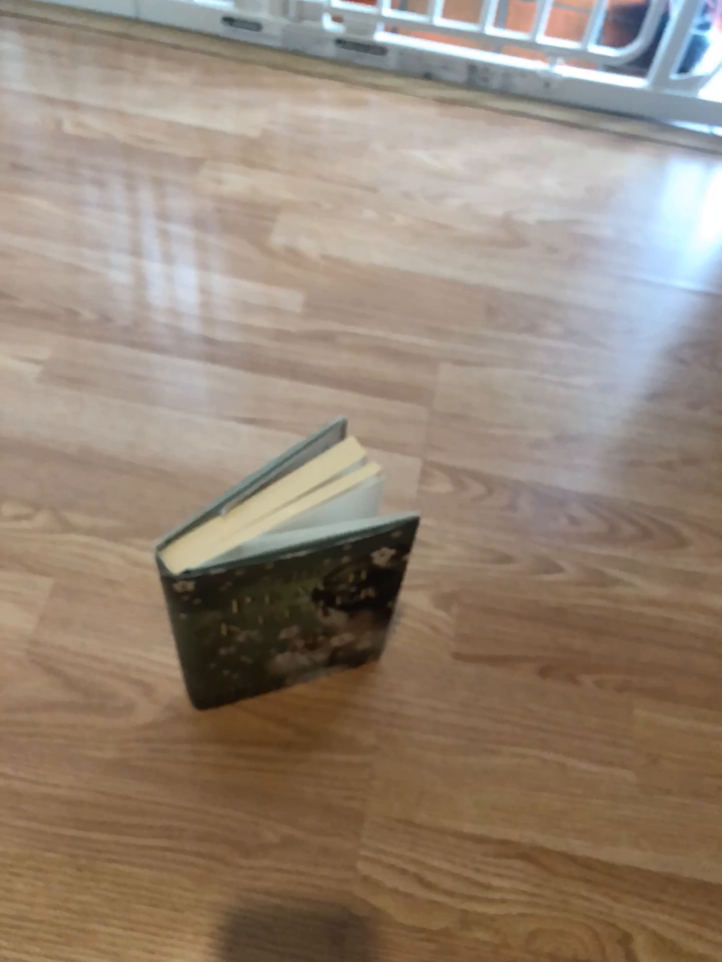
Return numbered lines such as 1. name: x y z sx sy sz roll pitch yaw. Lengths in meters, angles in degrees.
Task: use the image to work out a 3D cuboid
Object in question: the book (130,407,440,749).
1. book: -0.053 0.074 0.536 0.150 0.220 0.080 -24 63 -22
